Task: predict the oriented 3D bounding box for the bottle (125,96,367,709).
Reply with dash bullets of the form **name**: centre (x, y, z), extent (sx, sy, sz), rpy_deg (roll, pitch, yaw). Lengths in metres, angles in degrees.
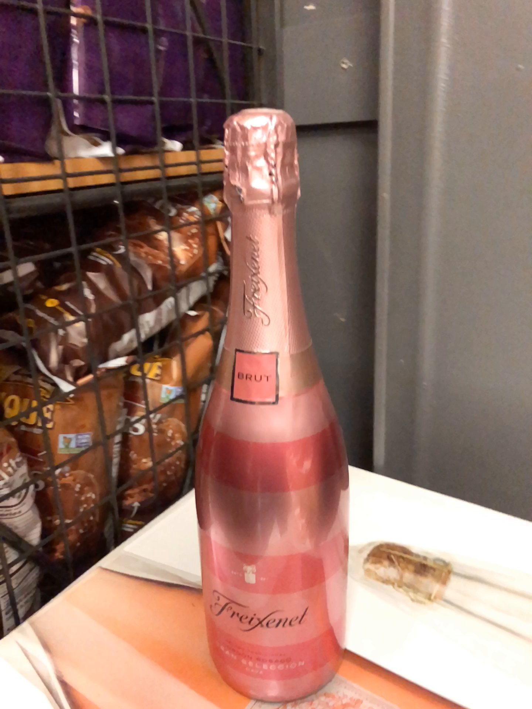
- **bottle**: centre (0.005, 0.035, 0.316), extent (0.090, 0.309, 0.090), rpy_deg (-3, 19, 1)
